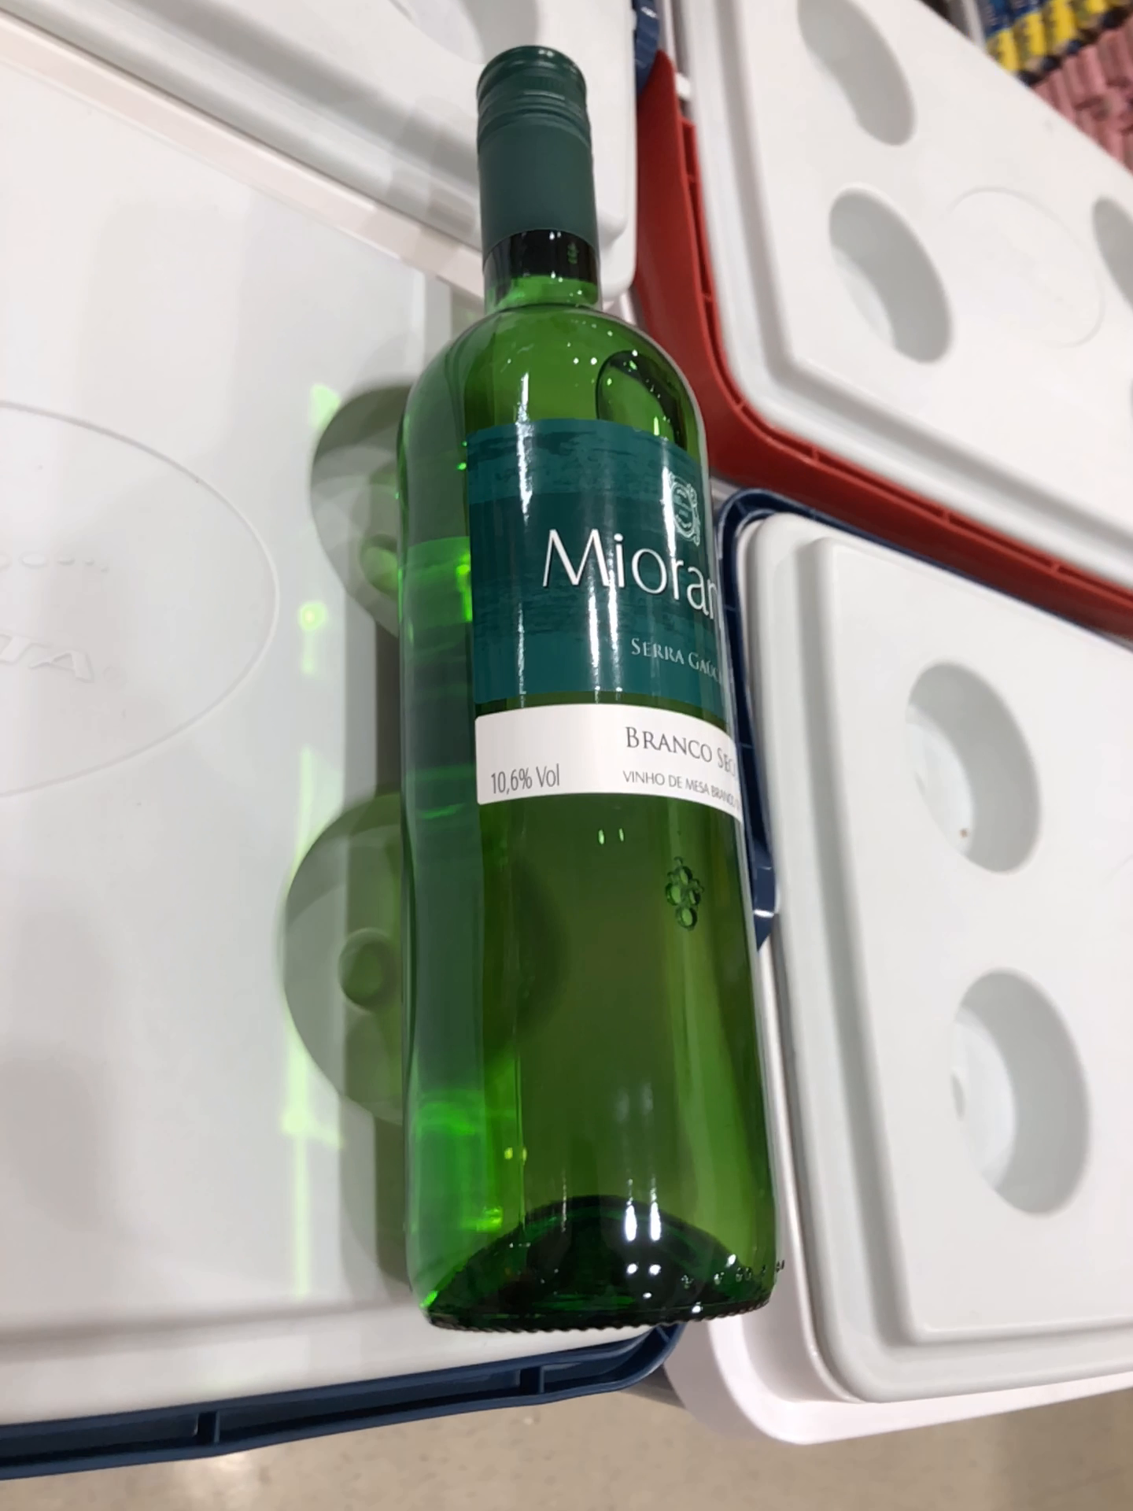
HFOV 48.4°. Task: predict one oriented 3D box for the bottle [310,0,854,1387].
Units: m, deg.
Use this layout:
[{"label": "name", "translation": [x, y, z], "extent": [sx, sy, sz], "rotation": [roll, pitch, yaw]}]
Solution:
[{"label": "bottle", "translation": [-0.009, -0.054, 0.306], "extent": [0.080, 0.070, 0.361], "rotation": [12, 65, -37]}]
